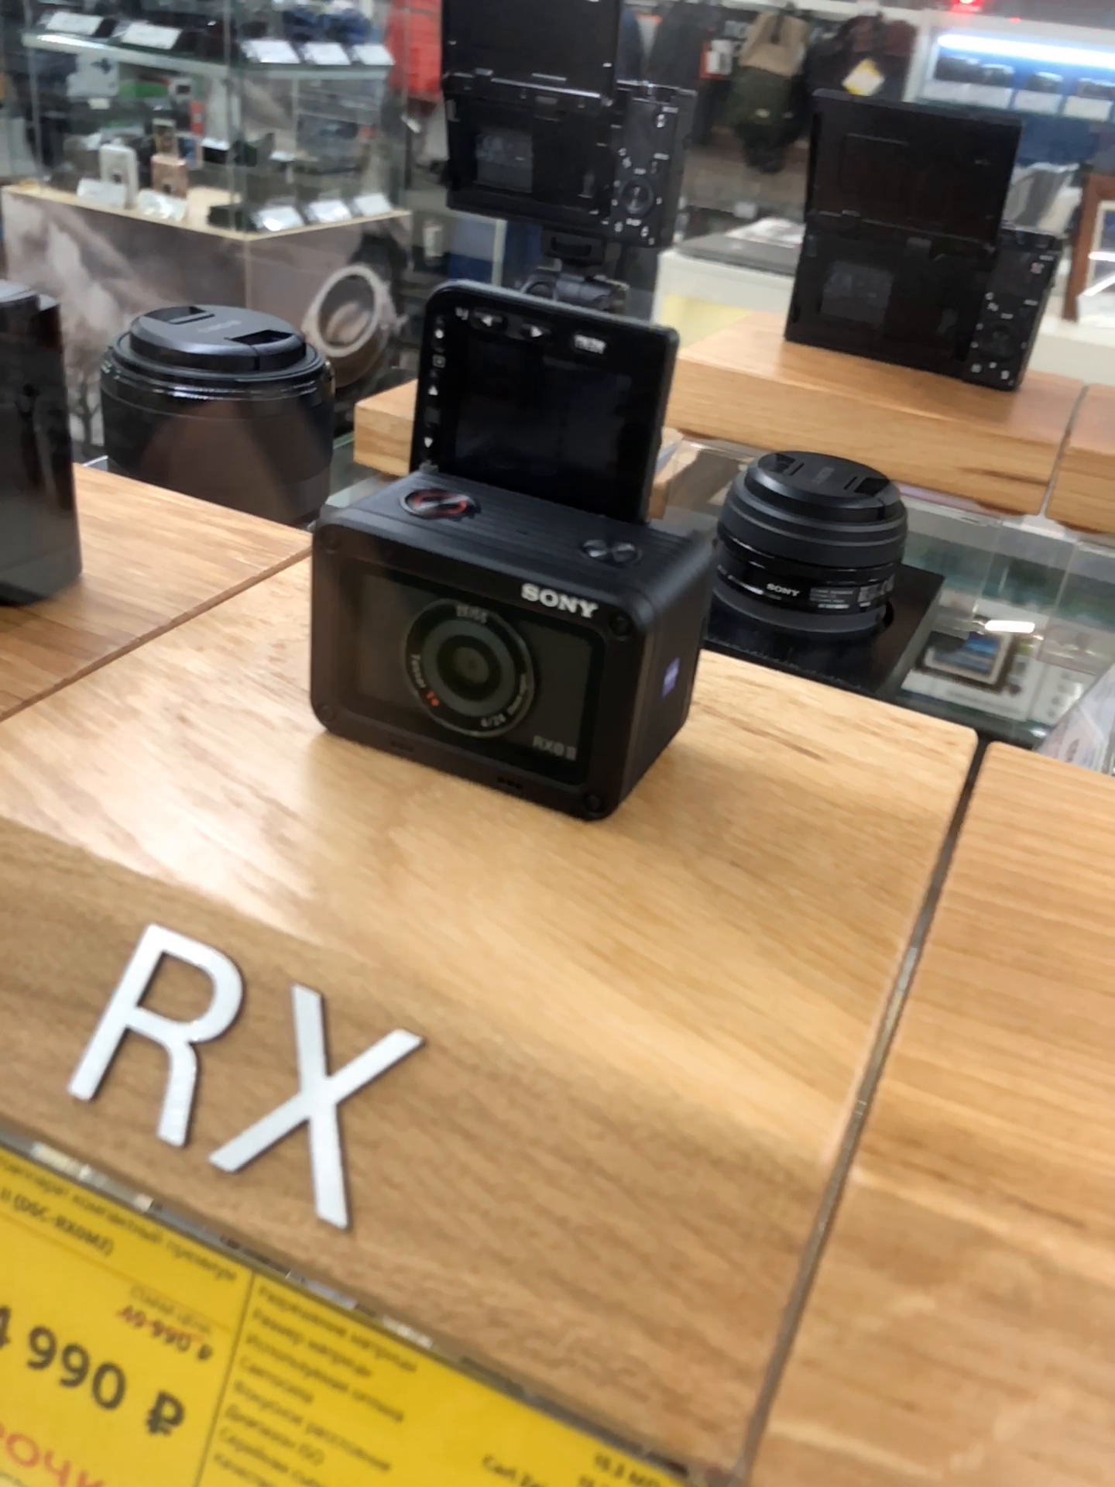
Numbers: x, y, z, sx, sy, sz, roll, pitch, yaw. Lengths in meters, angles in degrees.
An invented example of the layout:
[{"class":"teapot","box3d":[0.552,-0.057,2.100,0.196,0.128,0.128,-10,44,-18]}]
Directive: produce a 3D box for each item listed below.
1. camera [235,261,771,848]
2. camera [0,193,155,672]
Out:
[{"class":"camera","box3d":[-0.009,-0.033,0.197,0.062,0.067,0.050,18,32,18]},{"class":"camera","box3d":[-0.140,-0.067,0.253,0.105,0.067,0.041,18,32,18]}]
